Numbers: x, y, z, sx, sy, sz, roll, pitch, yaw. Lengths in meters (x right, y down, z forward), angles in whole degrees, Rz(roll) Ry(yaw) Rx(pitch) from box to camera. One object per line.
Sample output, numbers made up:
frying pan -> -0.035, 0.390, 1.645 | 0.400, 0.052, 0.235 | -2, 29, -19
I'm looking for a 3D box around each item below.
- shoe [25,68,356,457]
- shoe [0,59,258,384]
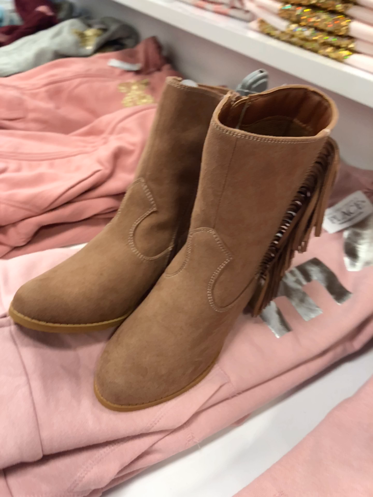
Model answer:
shoe -> 0.013, -0.004, 0.312 | 0.092, 0.199, 0.211 | 28, 42, 27
shoe -> -0.052, -0.039, 0.346 | 0.092, 0.199, 0.201 | 28, 35, 27
